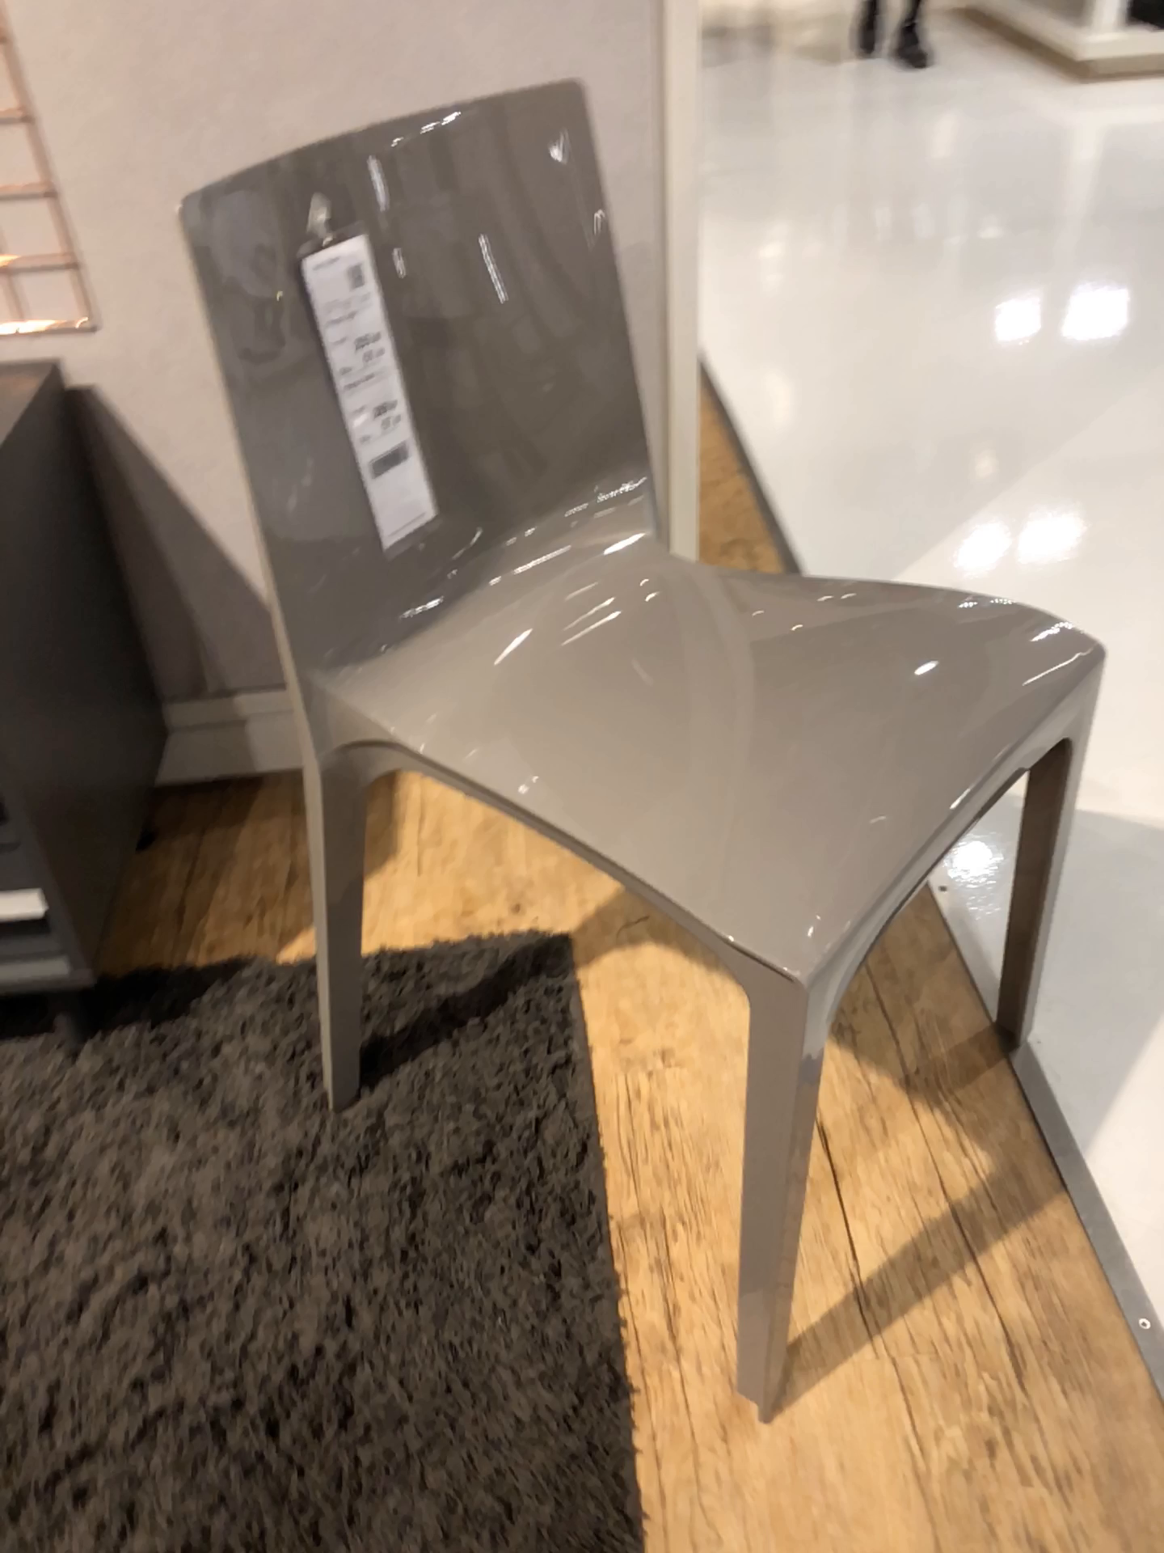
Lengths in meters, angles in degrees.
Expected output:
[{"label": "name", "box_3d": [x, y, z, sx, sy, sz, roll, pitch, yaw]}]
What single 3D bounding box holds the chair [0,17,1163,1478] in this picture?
[{"label": "chair", "box_3d": [0.059, -0.056, 0.932, 0.562, 0.754, 0.522, 28, 49, 33]}]
